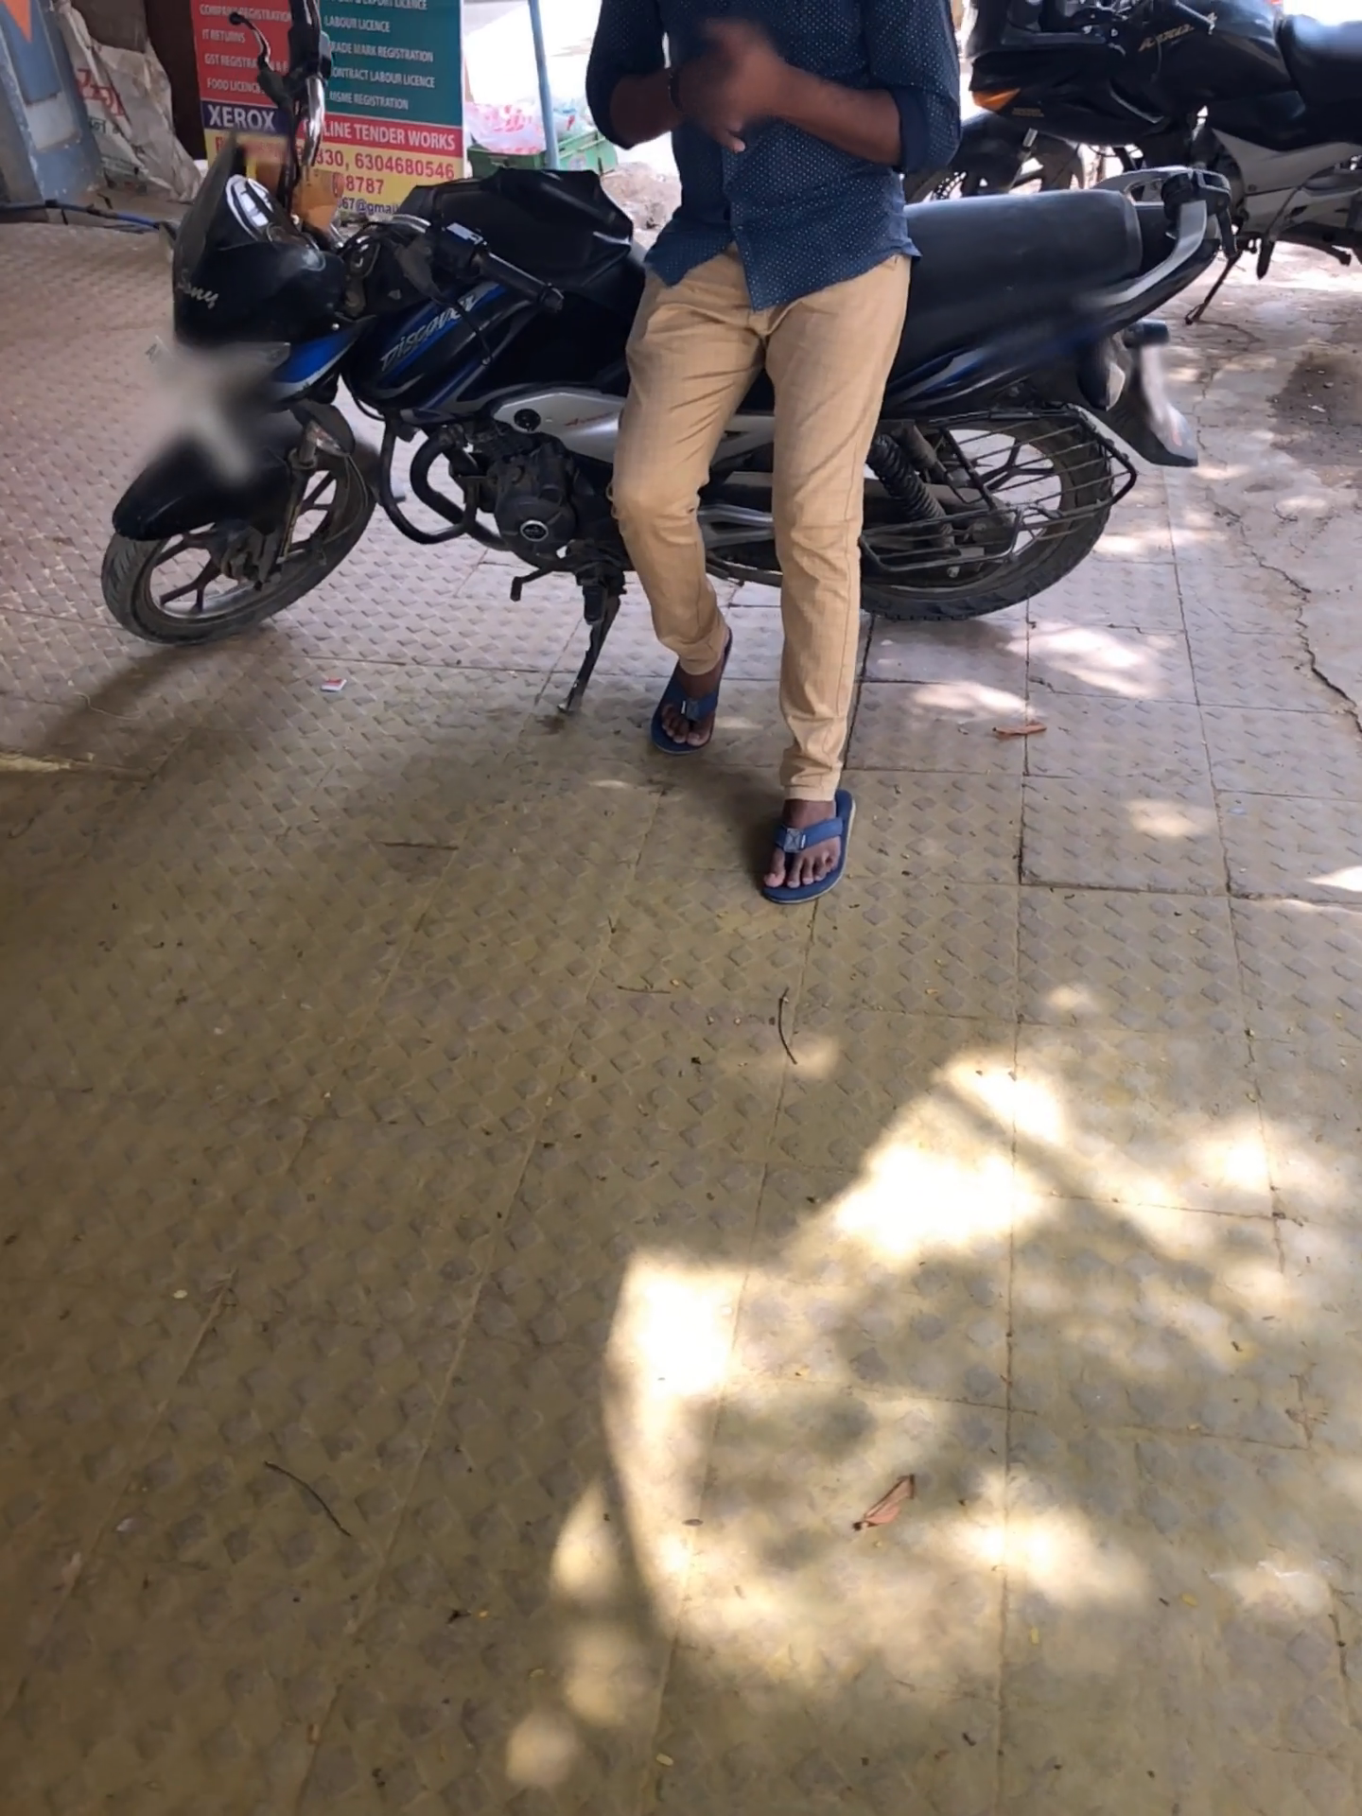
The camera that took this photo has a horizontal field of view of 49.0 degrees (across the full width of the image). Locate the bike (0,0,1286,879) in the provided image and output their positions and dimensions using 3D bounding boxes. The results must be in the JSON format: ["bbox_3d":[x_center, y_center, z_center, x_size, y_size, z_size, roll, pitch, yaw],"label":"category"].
[{"bbox_3d":[-0.142,-0.832,2.377,1.743,1.175,0.788,-6,37,1],"label":"bike"}]
